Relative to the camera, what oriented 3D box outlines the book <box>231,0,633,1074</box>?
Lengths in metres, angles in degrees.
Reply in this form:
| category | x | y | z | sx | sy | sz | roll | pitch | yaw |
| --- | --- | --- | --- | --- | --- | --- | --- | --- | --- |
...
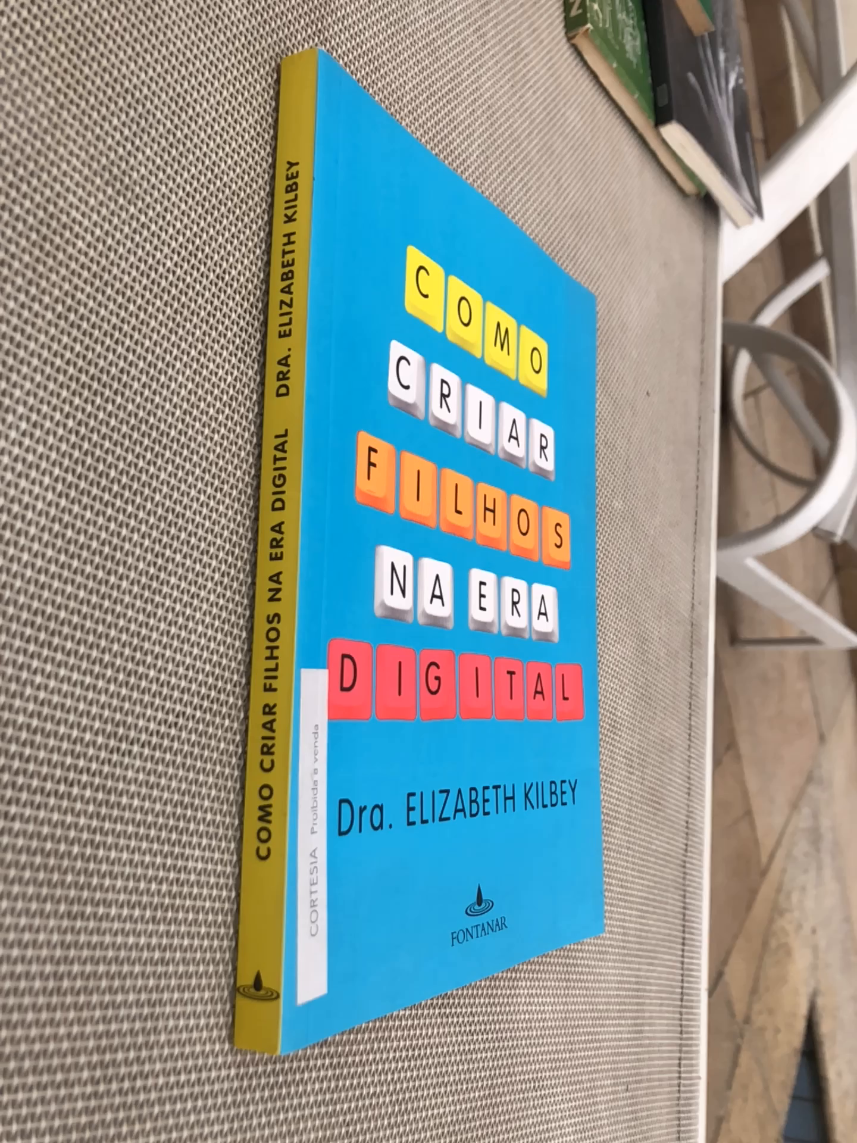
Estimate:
| category | x | y | z | sx | sy | sz | roll | pitch | yaw |
| --- | --- | --- | --- | --- | --- | --- | --- | --- | --- |
| book | 0.015 | -0.006 | 0.270 | 0.164 | 0.020 | 0.228 | 14 | 73 | -56 |
